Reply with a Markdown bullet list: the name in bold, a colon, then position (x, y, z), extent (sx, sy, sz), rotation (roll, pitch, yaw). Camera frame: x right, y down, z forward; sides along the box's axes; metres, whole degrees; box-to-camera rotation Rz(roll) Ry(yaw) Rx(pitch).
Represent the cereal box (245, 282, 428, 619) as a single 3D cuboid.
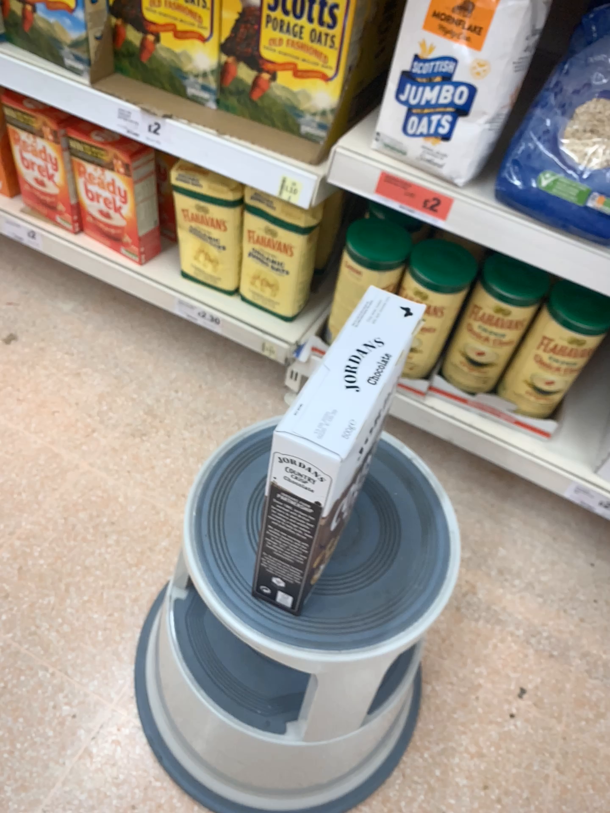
- **cereal box**: position (0.022, 0.046, 0.549), extent (0.050, 0.248, 0.181), rotation (24, 49, 9)
